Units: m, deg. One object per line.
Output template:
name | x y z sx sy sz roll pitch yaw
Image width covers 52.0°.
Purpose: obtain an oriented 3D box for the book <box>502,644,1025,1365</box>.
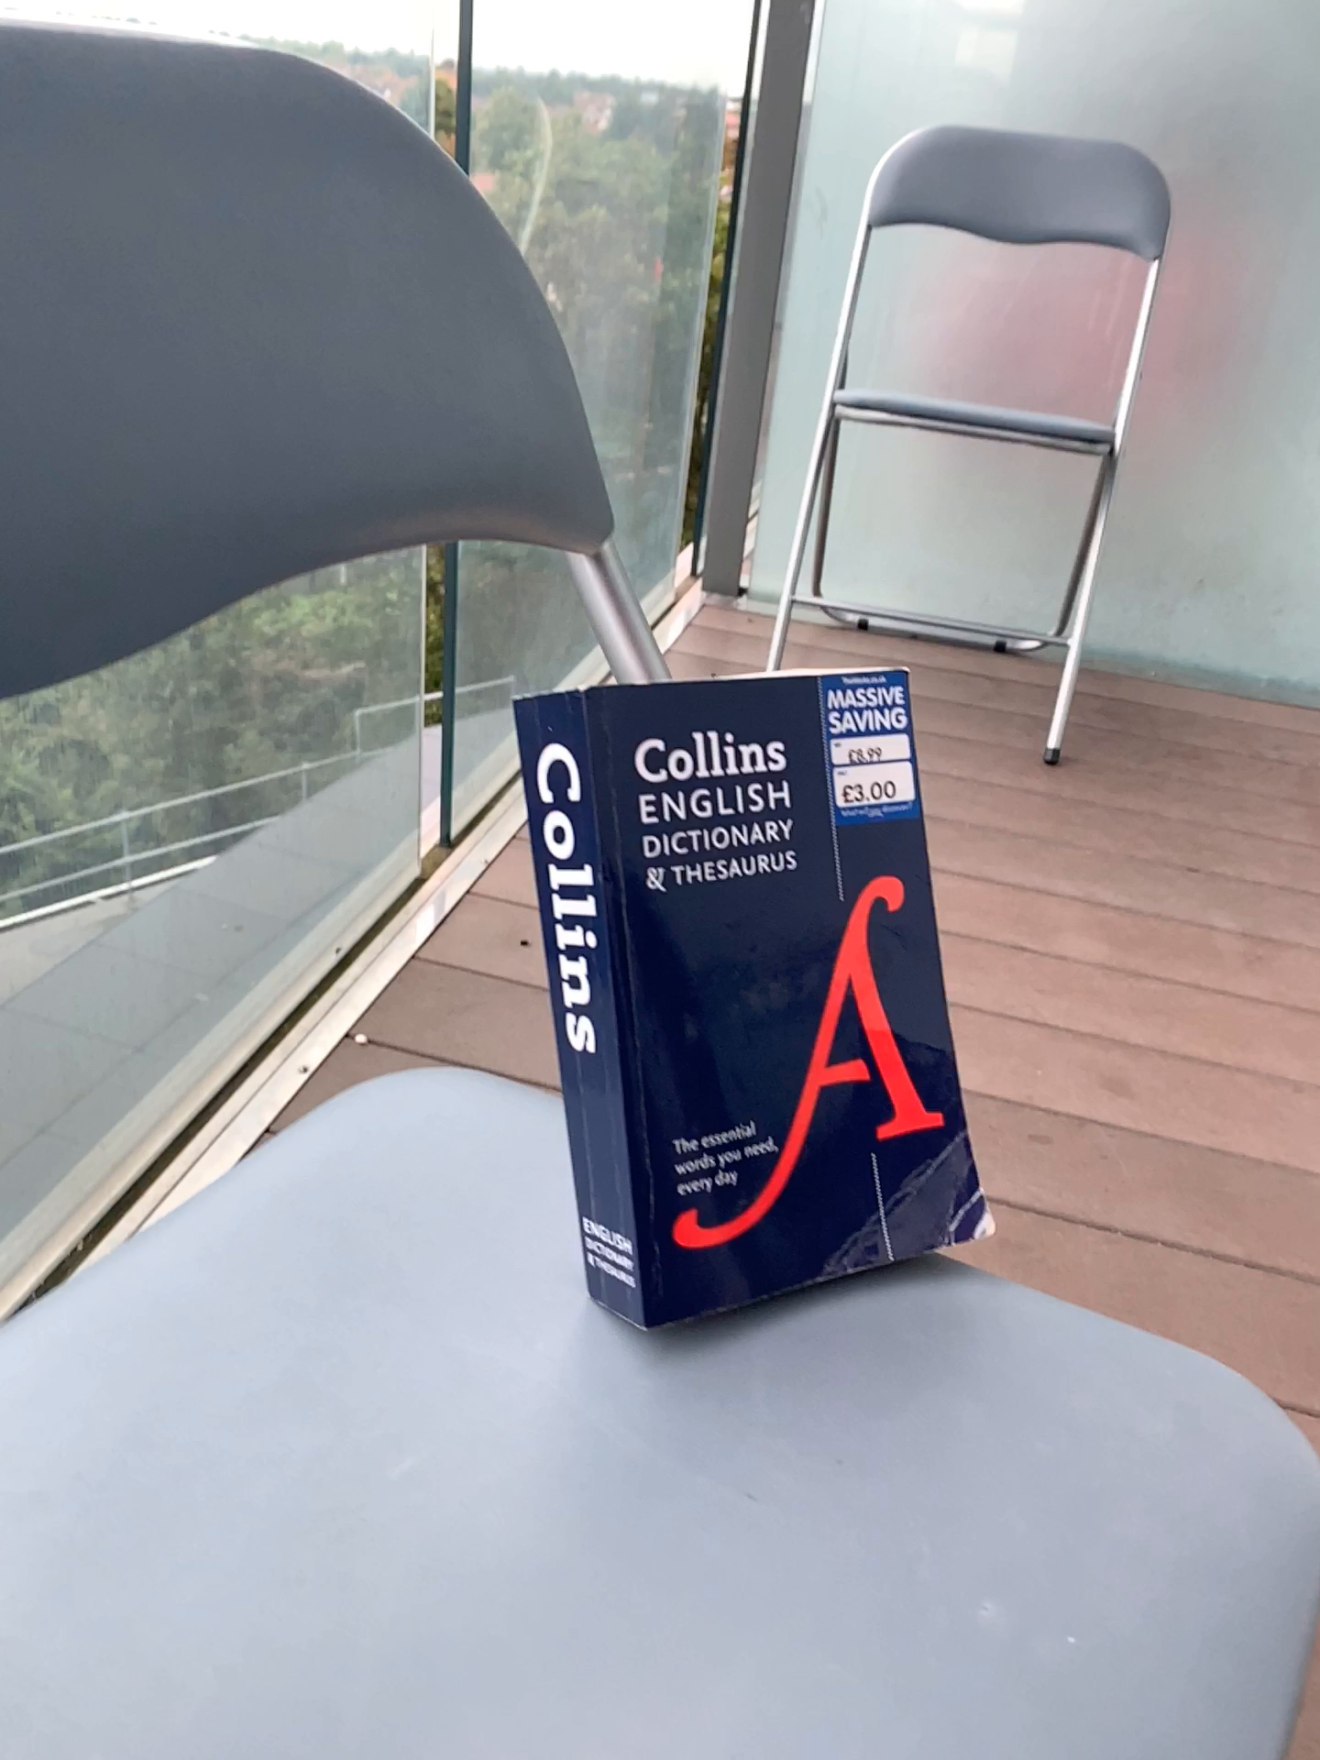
book | 0.036 0.031 0.442 0.140 0.200 0.060 -8 5 -24
